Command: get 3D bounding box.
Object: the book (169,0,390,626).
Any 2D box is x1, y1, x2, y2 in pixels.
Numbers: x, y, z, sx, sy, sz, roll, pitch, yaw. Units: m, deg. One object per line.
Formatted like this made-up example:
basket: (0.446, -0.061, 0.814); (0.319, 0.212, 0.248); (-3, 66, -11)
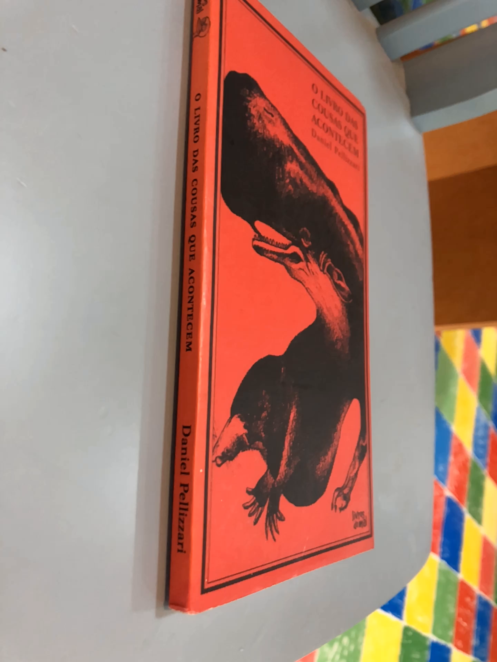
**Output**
book: (0.020, -0.014, 0.208); (0.111, 0.016, 0.200); (11, 76, -51)
